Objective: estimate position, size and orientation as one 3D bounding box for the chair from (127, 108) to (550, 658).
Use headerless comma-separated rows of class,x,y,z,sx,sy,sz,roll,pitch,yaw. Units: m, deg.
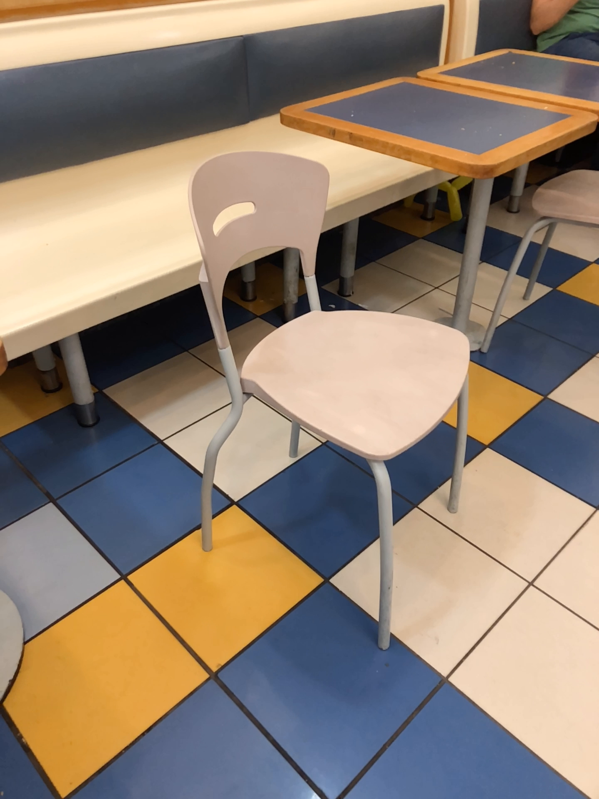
chair,0.076,-0.035,1.208,0.471,0.794,0.453,19,41,23
